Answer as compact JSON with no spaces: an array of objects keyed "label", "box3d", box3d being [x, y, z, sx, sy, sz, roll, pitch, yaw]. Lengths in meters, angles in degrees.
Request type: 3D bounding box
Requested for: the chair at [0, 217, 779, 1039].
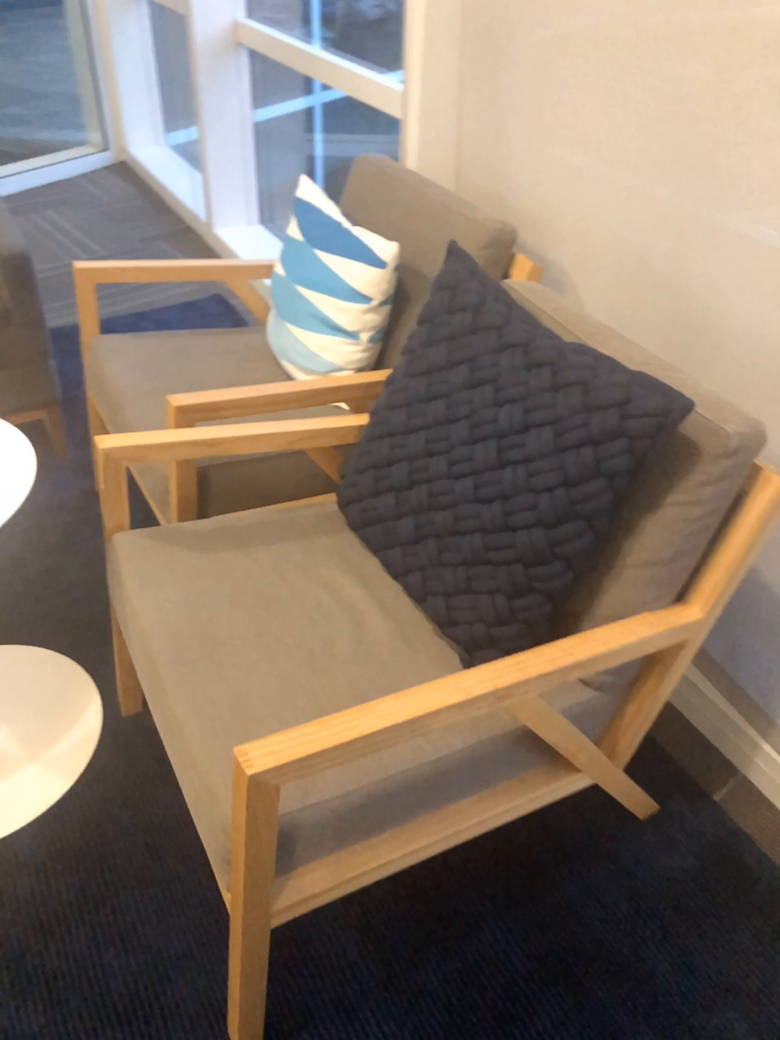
[{"label":"chair","box3d":[-0.003,0.108,1.274,0.853,0.773,0.744,-17,41,-23]}]
